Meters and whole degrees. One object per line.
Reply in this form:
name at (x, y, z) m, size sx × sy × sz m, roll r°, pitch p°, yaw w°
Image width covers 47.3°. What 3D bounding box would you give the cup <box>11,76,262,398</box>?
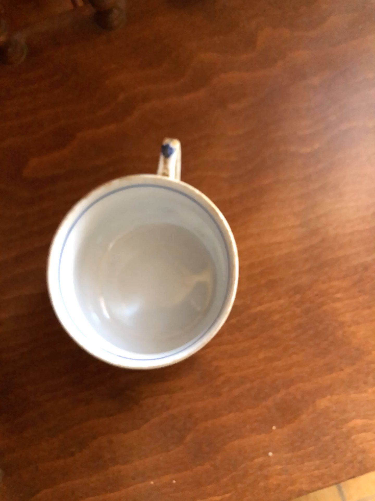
cup at (-0.016, -0.005, 0.199) m, size 0.080 × 0.060 × 0.120 m, roll 8°, pitch 80°, yaw 6°
